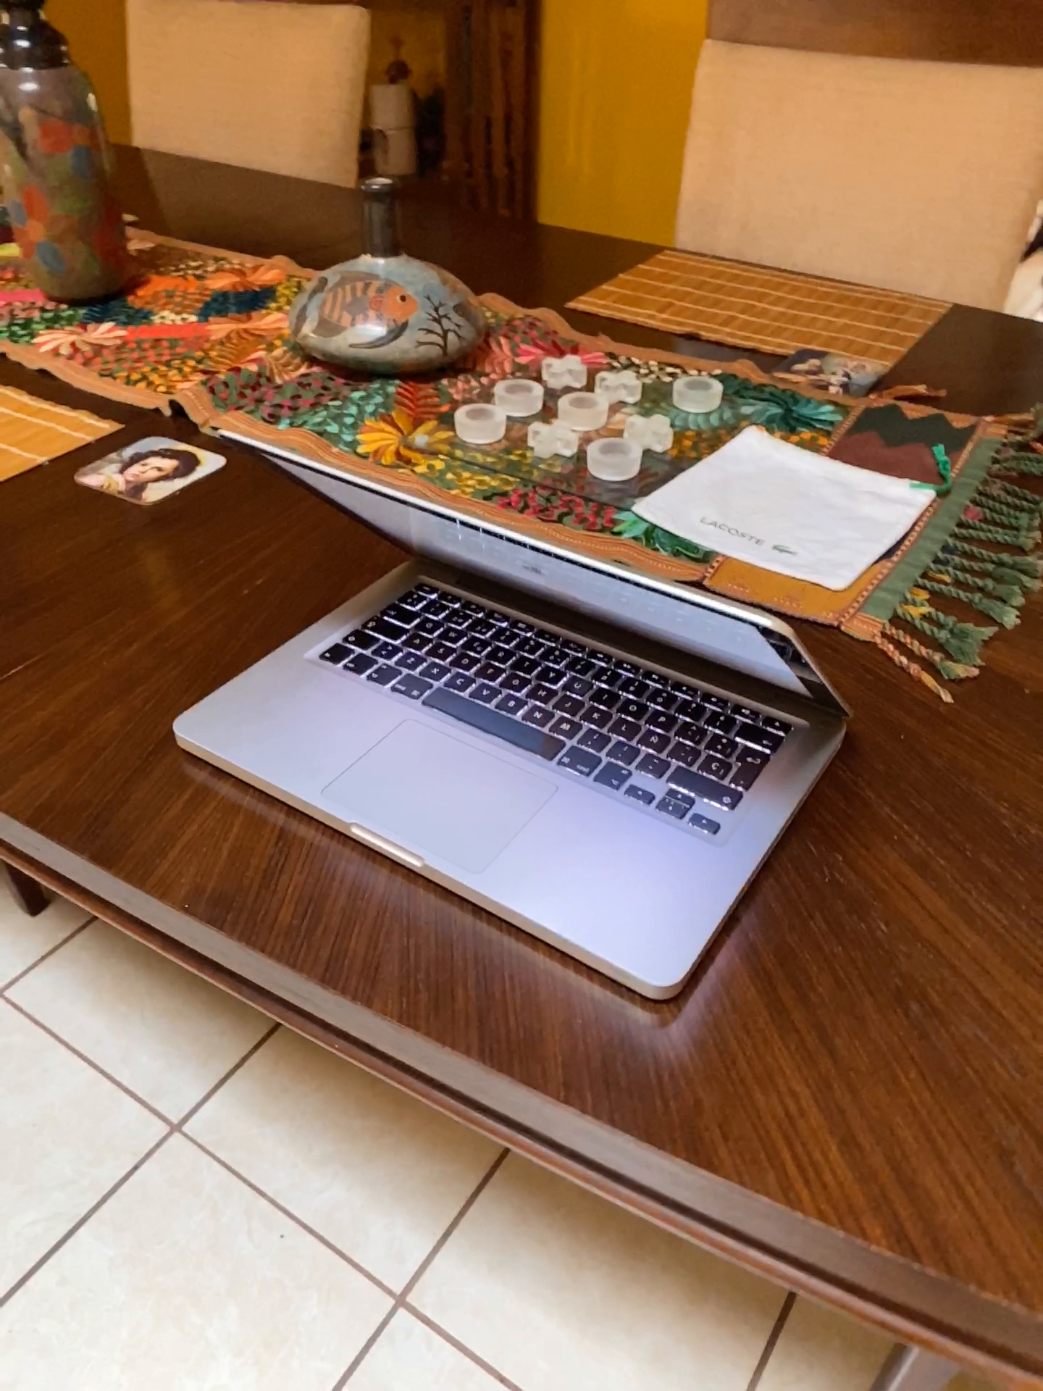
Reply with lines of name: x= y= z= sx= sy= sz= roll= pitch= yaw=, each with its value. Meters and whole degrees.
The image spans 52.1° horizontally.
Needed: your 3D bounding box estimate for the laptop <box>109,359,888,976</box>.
laptop: x=-0.011 y=-0.041 z=0.578 sx=0.322 sy=0.152 sz=0.213 roll=22 pitch=43 yaw=24
